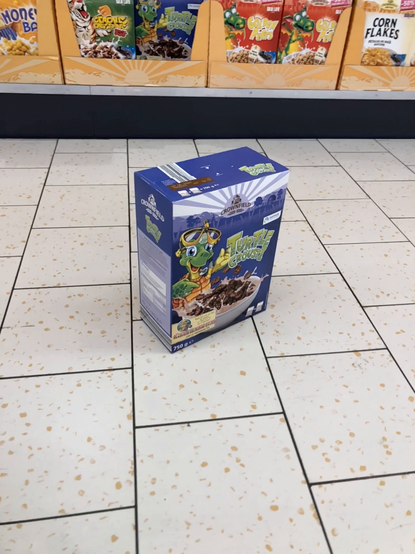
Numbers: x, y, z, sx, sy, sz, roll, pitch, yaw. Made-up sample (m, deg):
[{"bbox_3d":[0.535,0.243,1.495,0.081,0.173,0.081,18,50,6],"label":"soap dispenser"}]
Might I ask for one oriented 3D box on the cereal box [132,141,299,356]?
[{"bbox_3d":[0.007,-0.044,0.676,0.201,0.258,0.100,-20,43,-30],"label":"cereal box"}]
